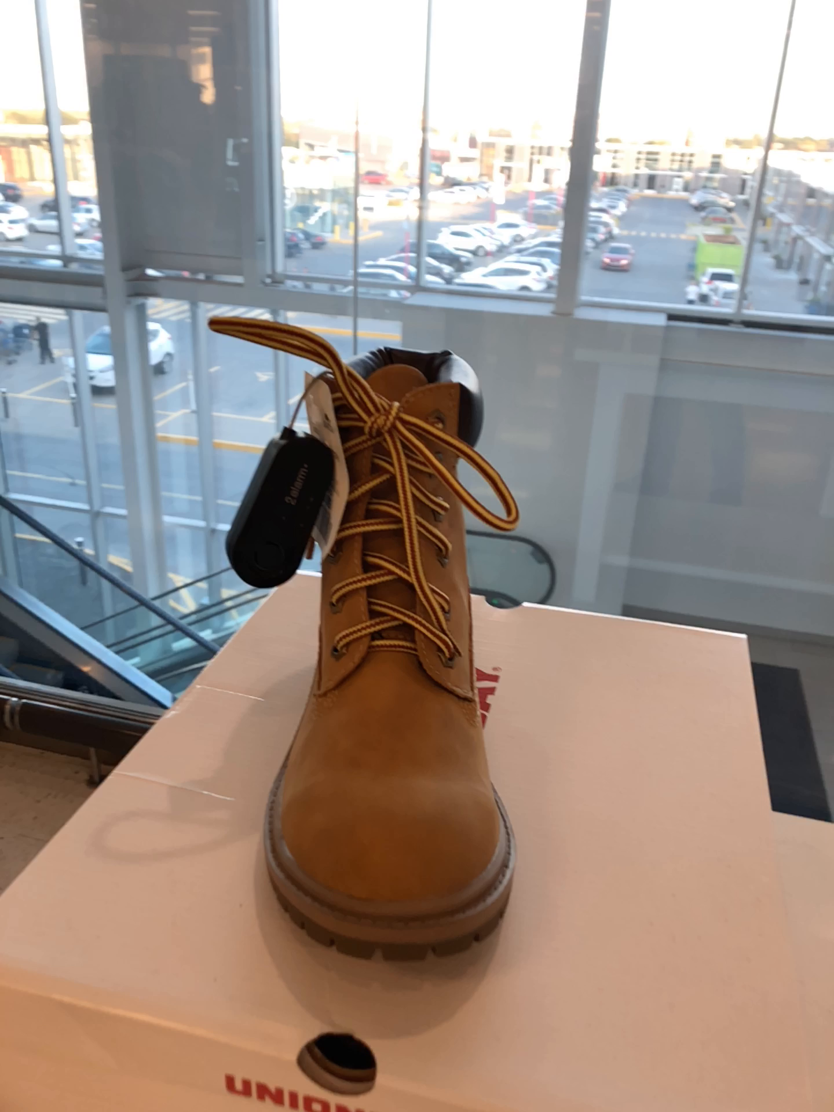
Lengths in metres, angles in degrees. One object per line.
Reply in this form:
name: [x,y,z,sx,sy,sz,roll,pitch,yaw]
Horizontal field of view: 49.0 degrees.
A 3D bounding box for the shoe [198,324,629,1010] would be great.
shoe: [-0.004,0.017,0.371,0.107,0.169,0.242,2,25,-1]
